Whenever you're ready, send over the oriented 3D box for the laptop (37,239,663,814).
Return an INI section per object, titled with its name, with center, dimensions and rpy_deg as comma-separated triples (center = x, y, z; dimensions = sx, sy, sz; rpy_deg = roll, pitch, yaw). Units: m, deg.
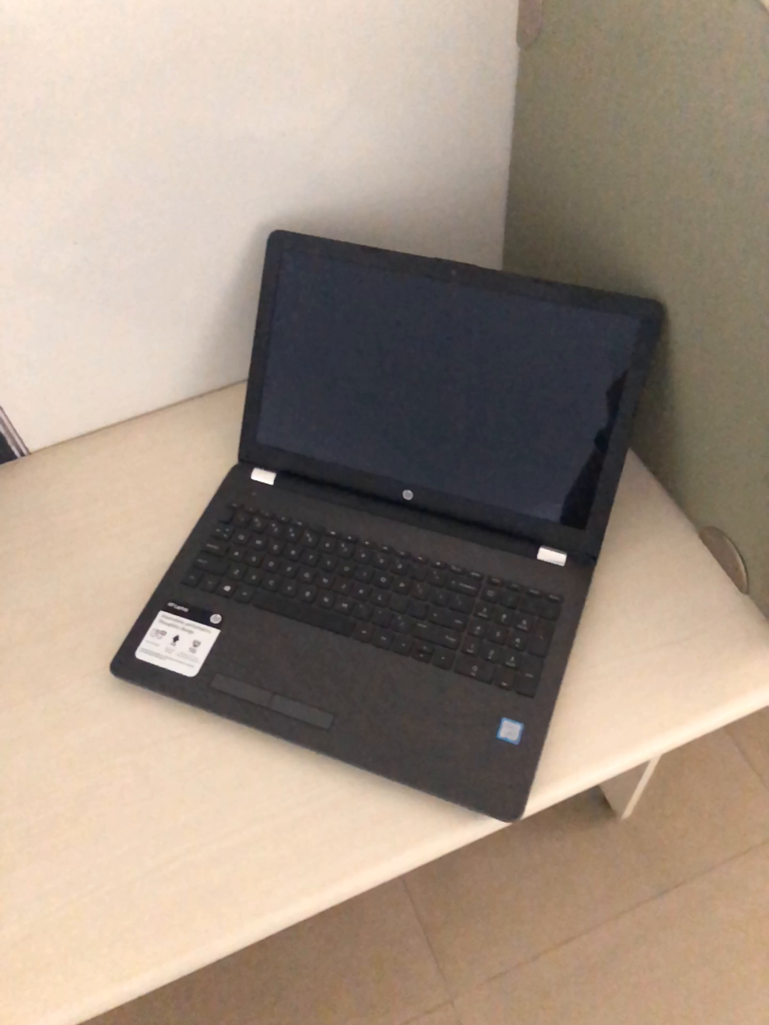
[laptop]
center = -0.002, -0.019, 0.729
dimensions = 0.366, 0.167, 0.395
rpy_deg = 15, 56, 17
